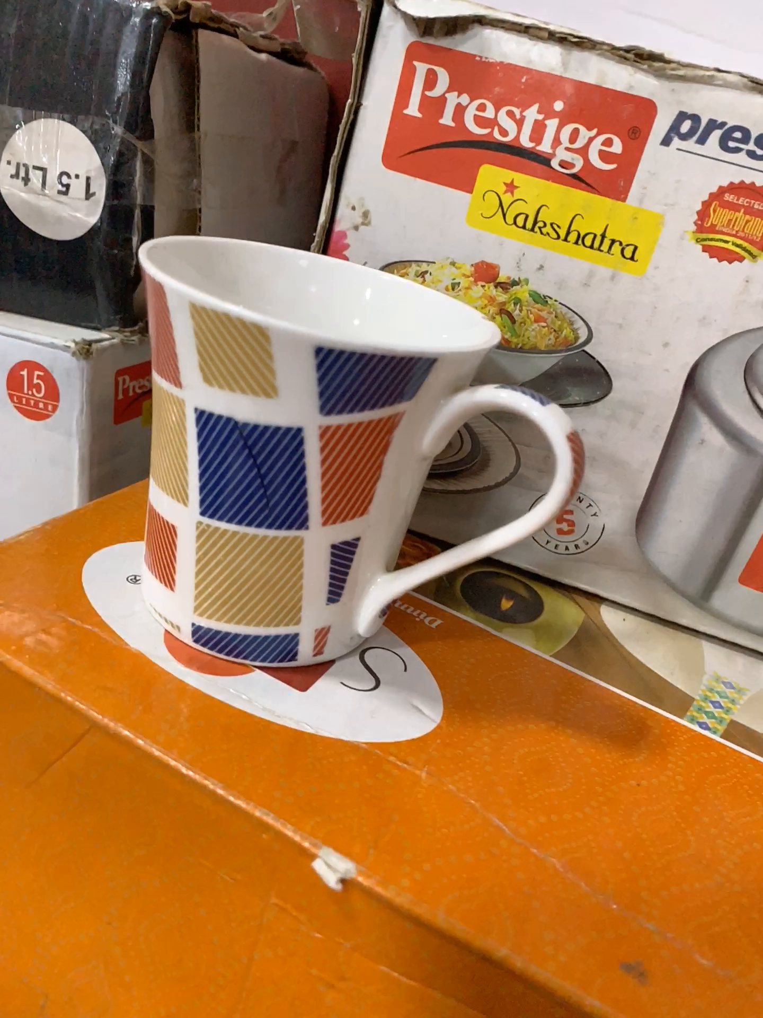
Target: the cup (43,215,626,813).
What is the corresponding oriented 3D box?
[{"bbox_3d":[-0.009,-0.006,0.183,0.100,0.089,0.070,19,26,9],"label":"cup"}]
